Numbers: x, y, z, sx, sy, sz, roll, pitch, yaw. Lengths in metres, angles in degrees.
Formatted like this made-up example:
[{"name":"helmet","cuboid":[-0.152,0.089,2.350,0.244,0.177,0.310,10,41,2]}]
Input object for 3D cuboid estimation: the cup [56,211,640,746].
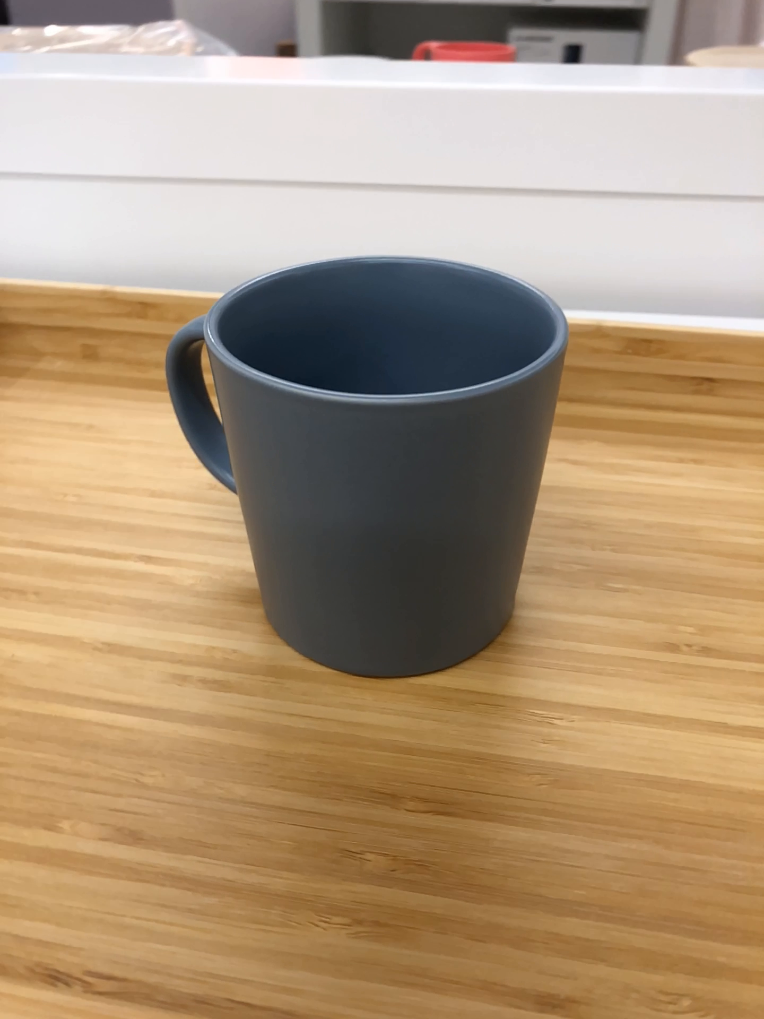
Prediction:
[{"name":"cup","cuboid":[-0.009,-0.019,0.245,0.120,0.090,0.090,22,40,28]}]
